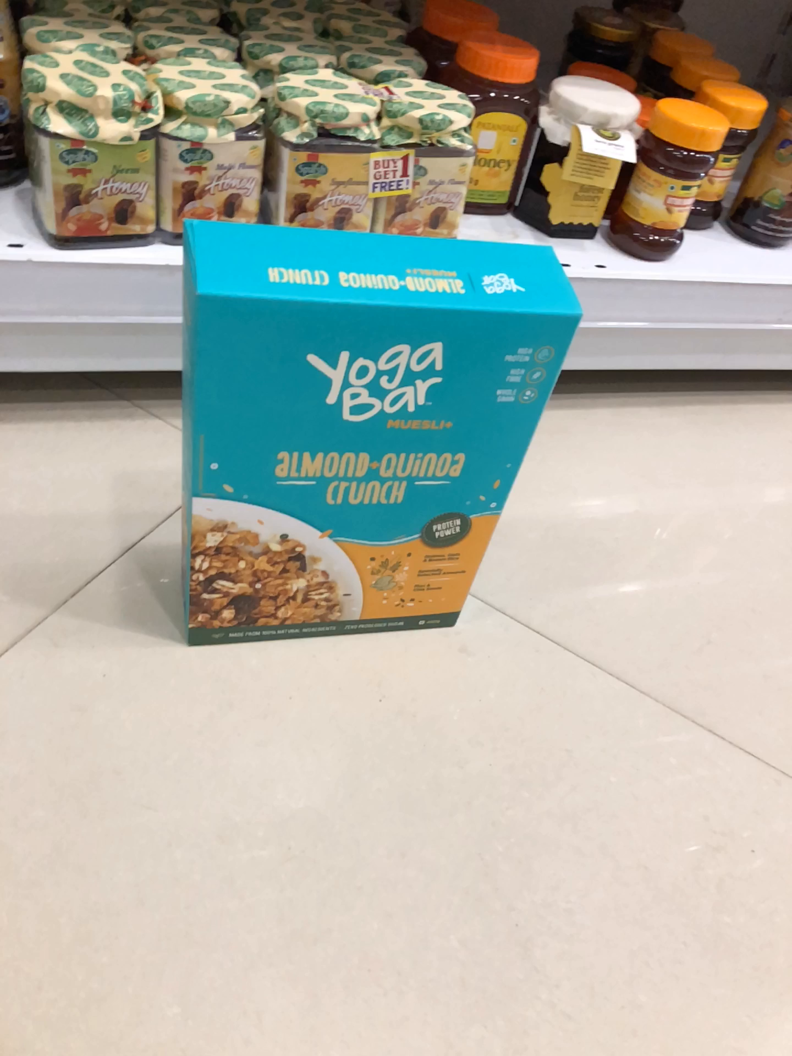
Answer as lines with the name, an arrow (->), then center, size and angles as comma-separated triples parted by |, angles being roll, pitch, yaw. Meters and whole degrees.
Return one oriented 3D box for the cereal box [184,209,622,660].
cereal box -> -0.016, -0.031, 0.437 | 0.170, 0.228, 0.060 | -2, 48, -17
